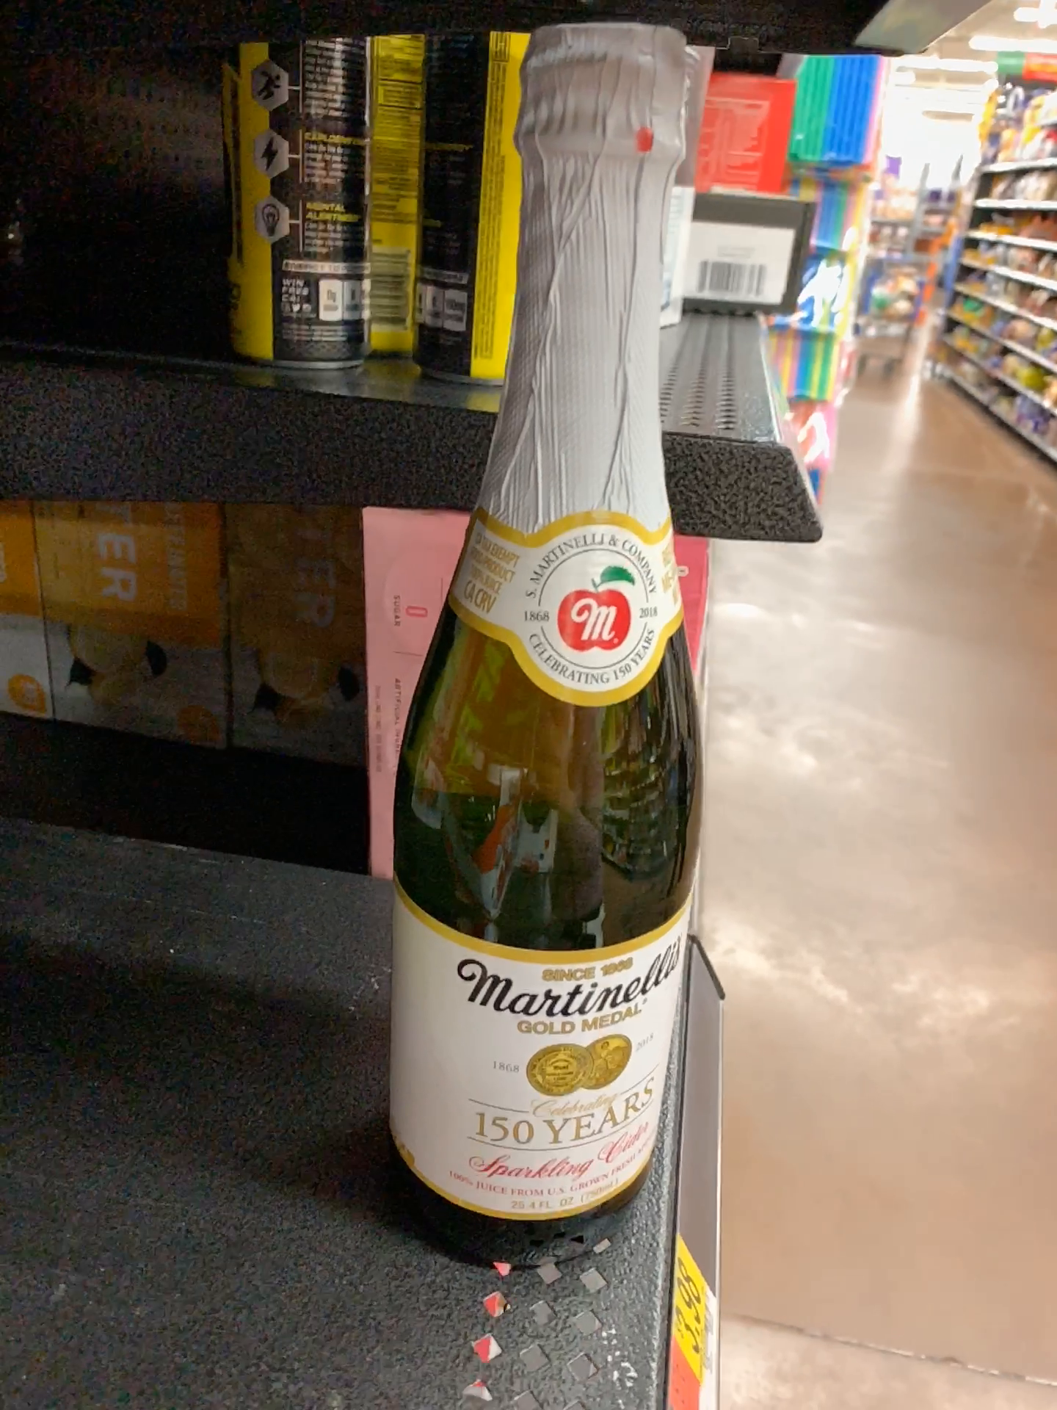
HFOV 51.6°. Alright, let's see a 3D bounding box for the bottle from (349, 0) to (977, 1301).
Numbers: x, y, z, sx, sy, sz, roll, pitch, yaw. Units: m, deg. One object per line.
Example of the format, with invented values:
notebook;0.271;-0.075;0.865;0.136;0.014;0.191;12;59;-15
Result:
bottle;0.007;0.002;0.274;0.089;0.298;0.090;5;25;-2
